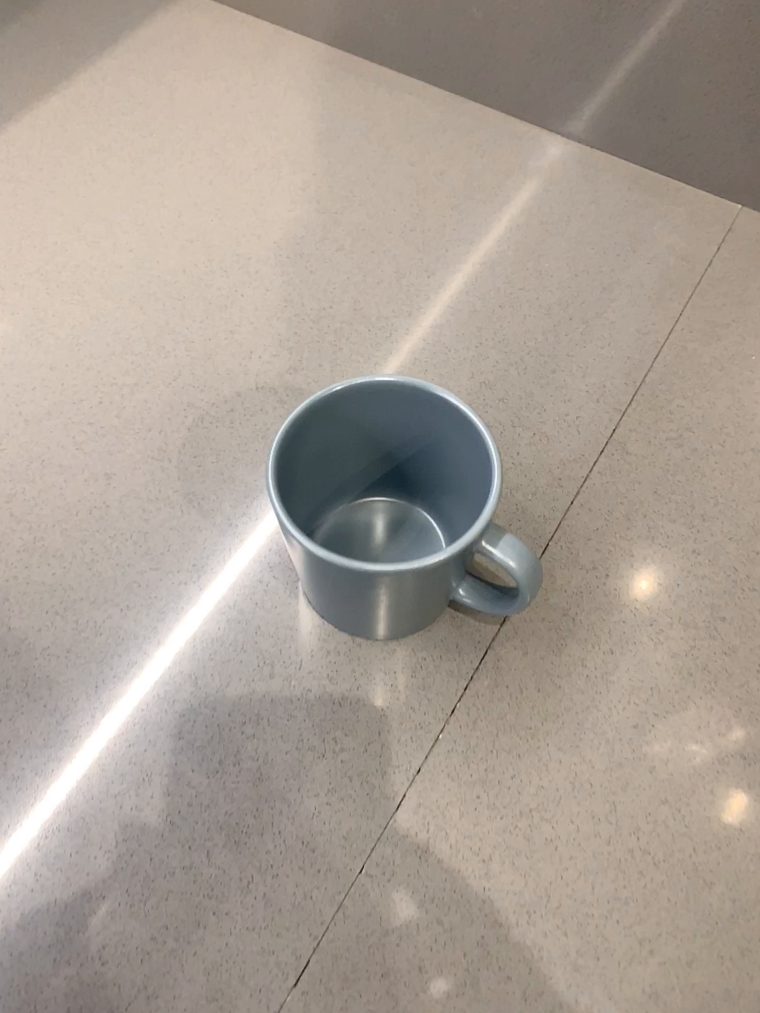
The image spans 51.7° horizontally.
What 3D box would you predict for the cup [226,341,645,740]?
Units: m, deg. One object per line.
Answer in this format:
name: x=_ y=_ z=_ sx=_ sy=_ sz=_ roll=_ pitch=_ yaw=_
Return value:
cup: x=0.021 y=0.016 z=0.333 sx=0.130 sy=0.090 sz=0.090 roll=28 pitch=64 yaw=14
